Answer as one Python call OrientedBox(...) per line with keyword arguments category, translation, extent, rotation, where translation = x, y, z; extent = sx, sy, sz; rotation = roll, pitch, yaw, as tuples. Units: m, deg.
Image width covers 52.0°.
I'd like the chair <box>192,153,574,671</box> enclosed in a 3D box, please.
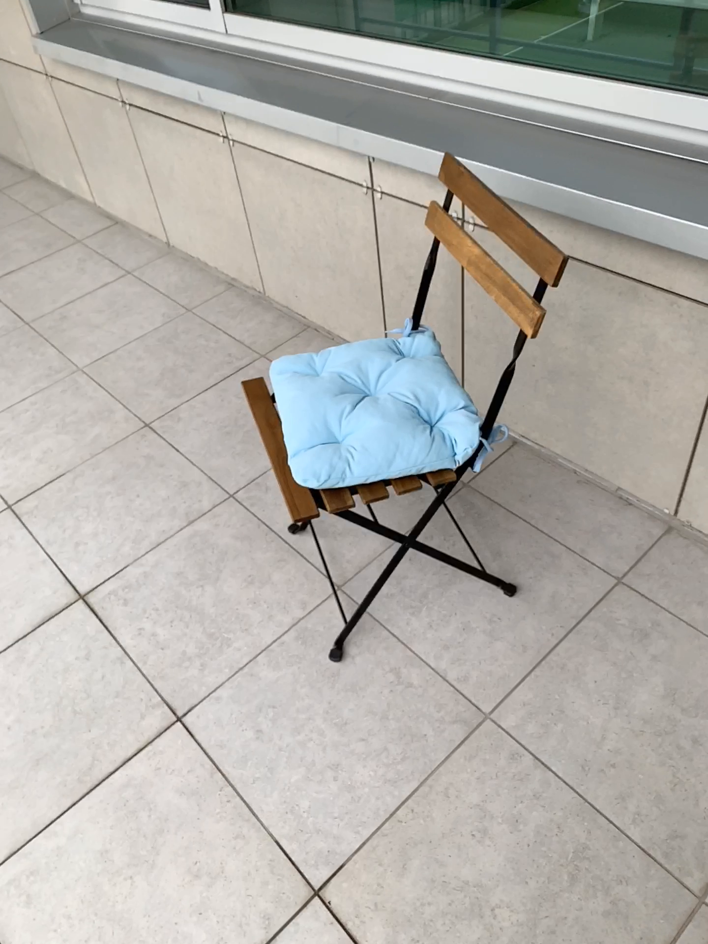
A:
OrientedBox(category="chair", translation=(0.054, -0.083, 1.323), extent=(0.452, 0.748, 0.419), rotation=(-17, 44, -8))
